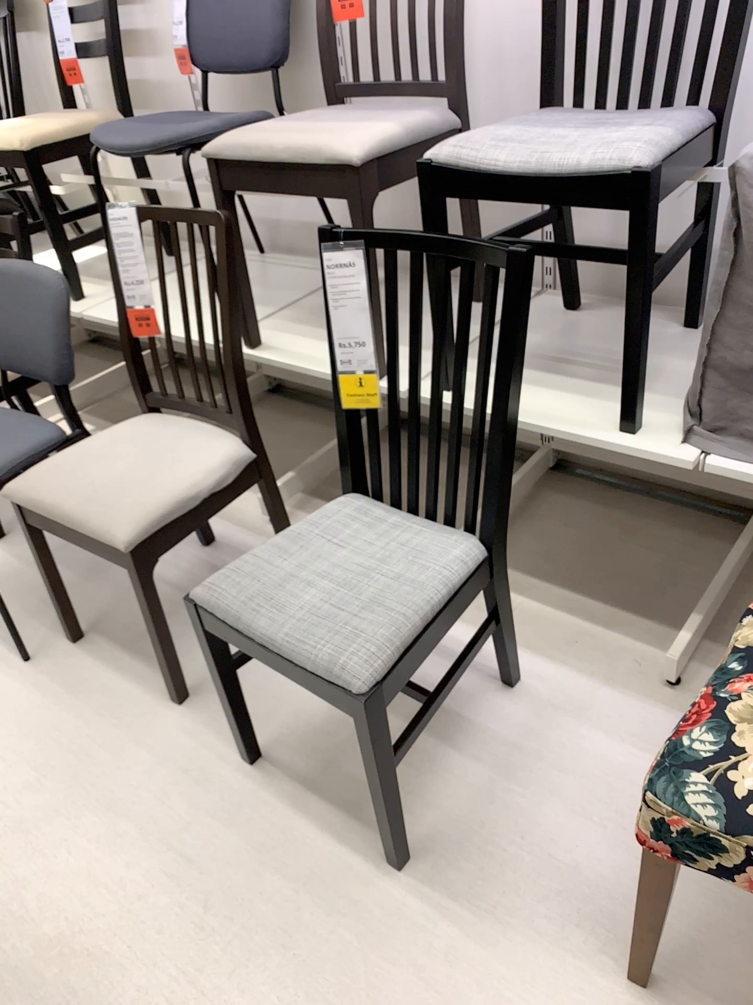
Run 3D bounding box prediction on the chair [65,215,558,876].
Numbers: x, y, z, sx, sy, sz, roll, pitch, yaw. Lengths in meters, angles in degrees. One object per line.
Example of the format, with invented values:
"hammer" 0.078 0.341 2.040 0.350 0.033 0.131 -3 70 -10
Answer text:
"chair" -0.022 0.059 1.331 0.441 0.896 0.551 20 44 36
